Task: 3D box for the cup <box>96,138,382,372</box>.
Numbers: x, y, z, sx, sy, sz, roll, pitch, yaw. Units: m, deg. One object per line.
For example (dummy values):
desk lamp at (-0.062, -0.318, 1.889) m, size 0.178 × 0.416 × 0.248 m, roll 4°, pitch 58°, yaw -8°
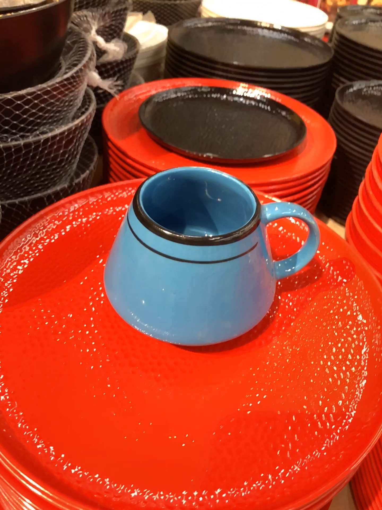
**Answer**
cup at (0.015, -0.007, 0.268) m, size 0.140 × 0.089 × 0.111 m, roll -3°, pitch 40°, yaw -11°
